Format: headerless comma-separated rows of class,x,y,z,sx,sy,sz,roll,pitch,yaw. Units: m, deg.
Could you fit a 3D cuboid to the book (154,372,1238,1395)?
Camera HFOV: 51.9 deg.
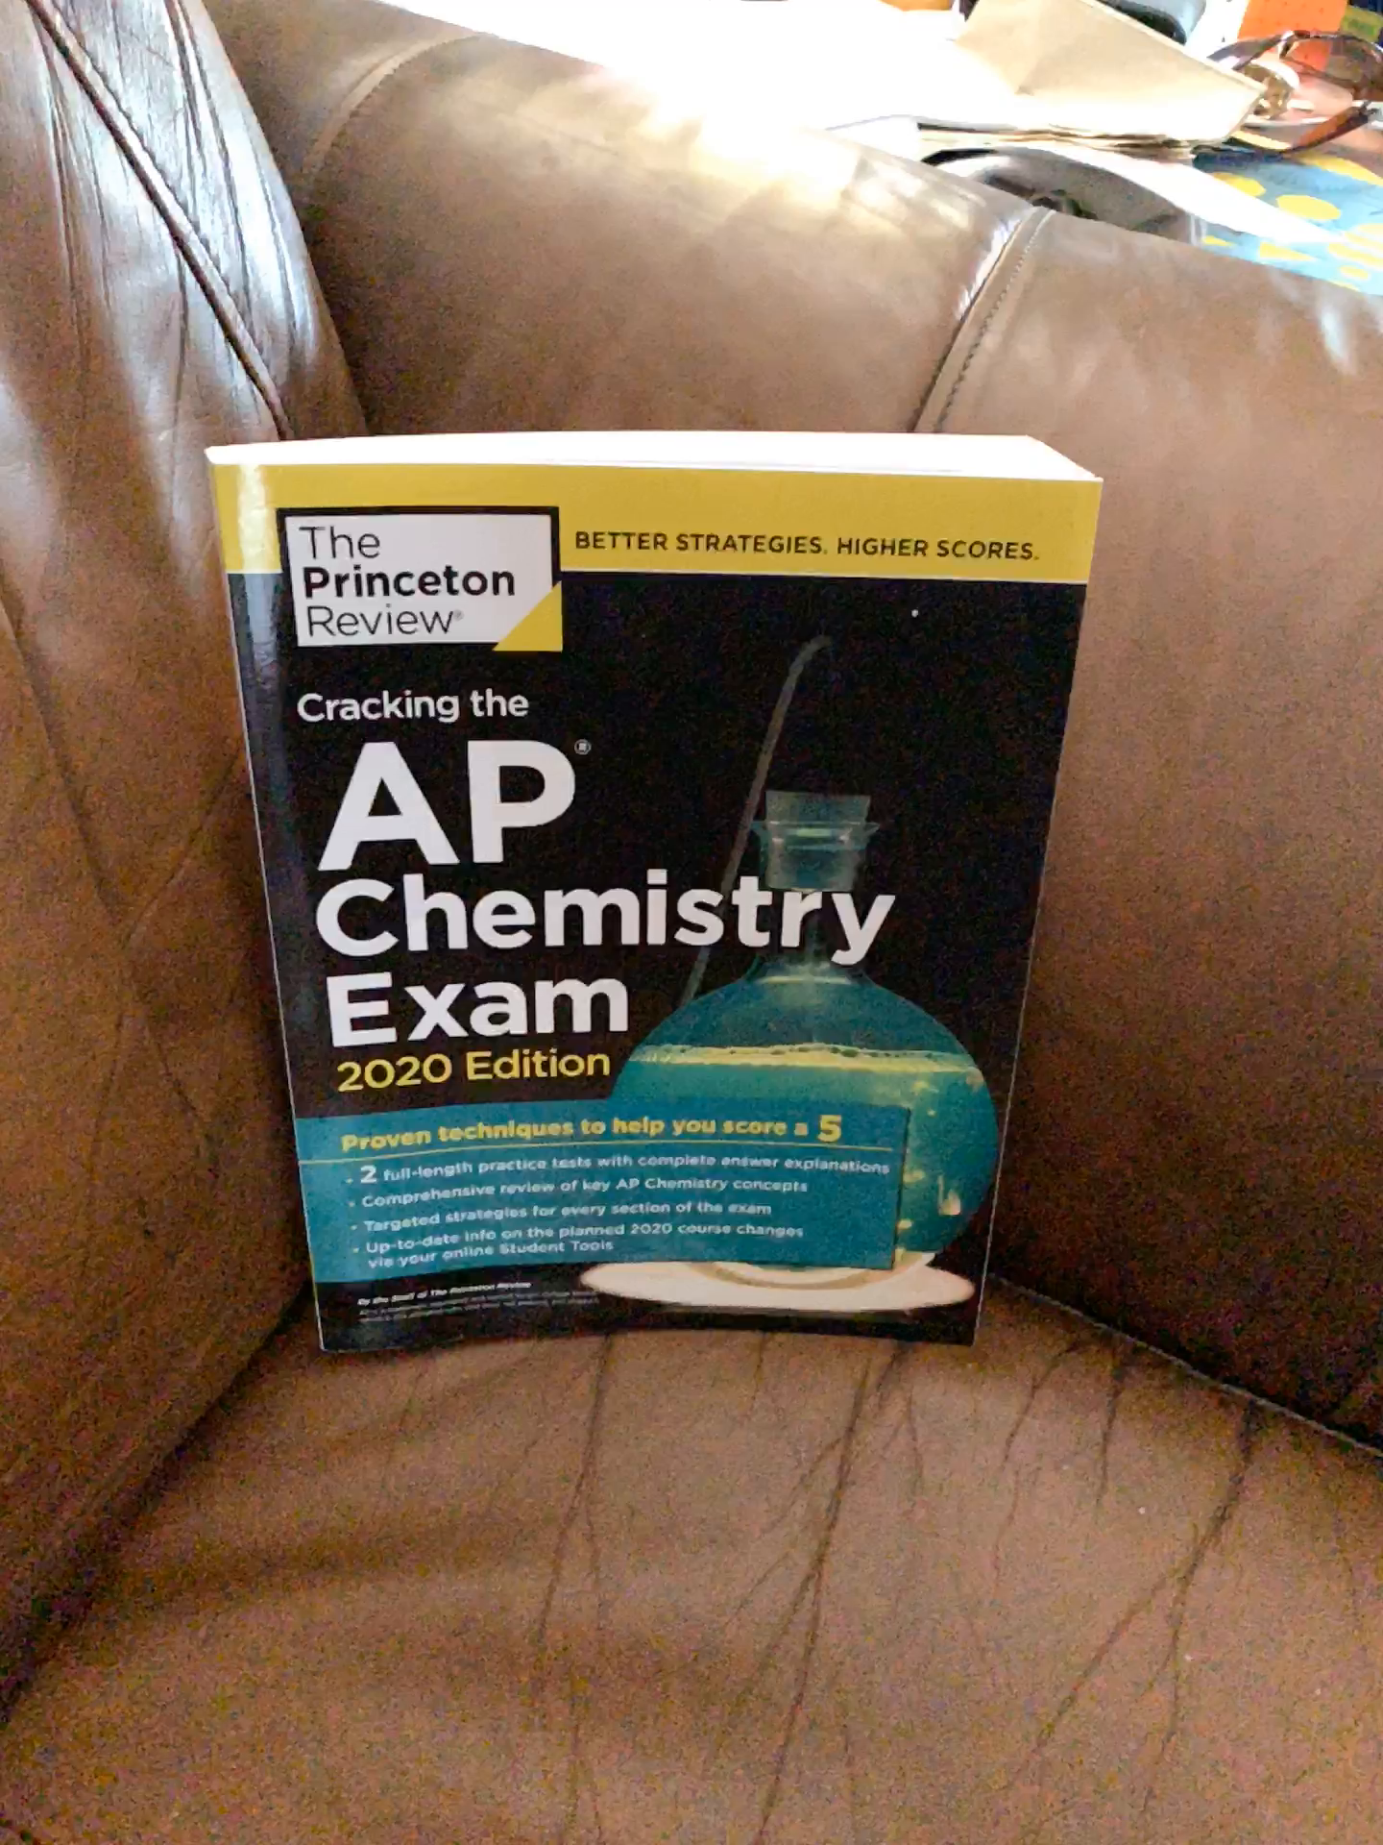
book,-0.006,0.015,0.417,0.240,0.319,0.040,0,34,-6
